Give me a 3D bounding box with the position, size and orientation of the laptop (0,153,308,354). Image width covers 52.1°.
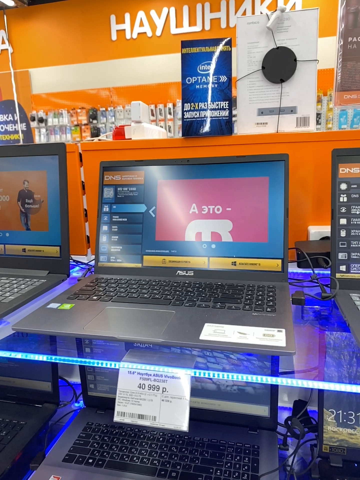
[{"bbox_3d":[-0.009,-0.019,0.565,0.357,0.211,0.307,1,12,14],"label":"laptop"}]
